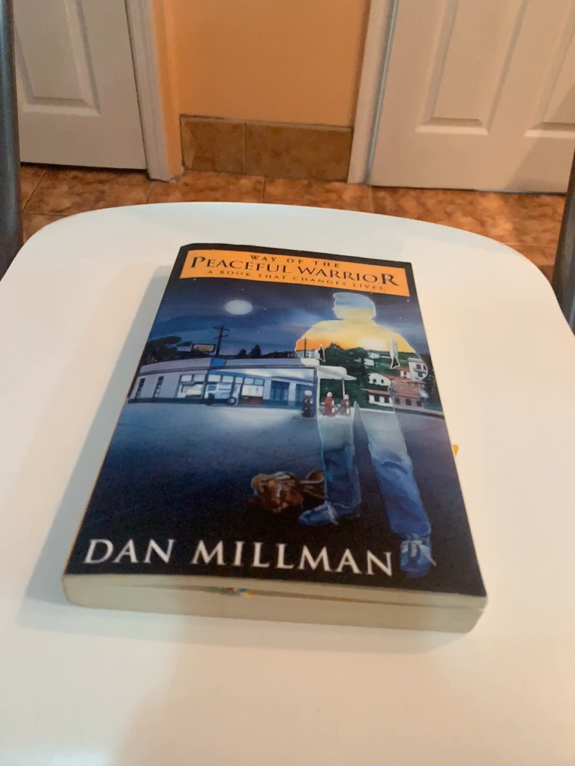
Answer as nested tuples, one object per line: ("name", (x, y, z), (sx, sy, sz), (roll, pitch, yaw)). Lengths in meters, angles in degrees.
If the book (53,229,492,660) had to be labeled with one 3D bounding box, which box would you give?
("book", (0.000, 0.007, 0.275), (0.141, 0.039, 0.211), (4, 46, 1))
